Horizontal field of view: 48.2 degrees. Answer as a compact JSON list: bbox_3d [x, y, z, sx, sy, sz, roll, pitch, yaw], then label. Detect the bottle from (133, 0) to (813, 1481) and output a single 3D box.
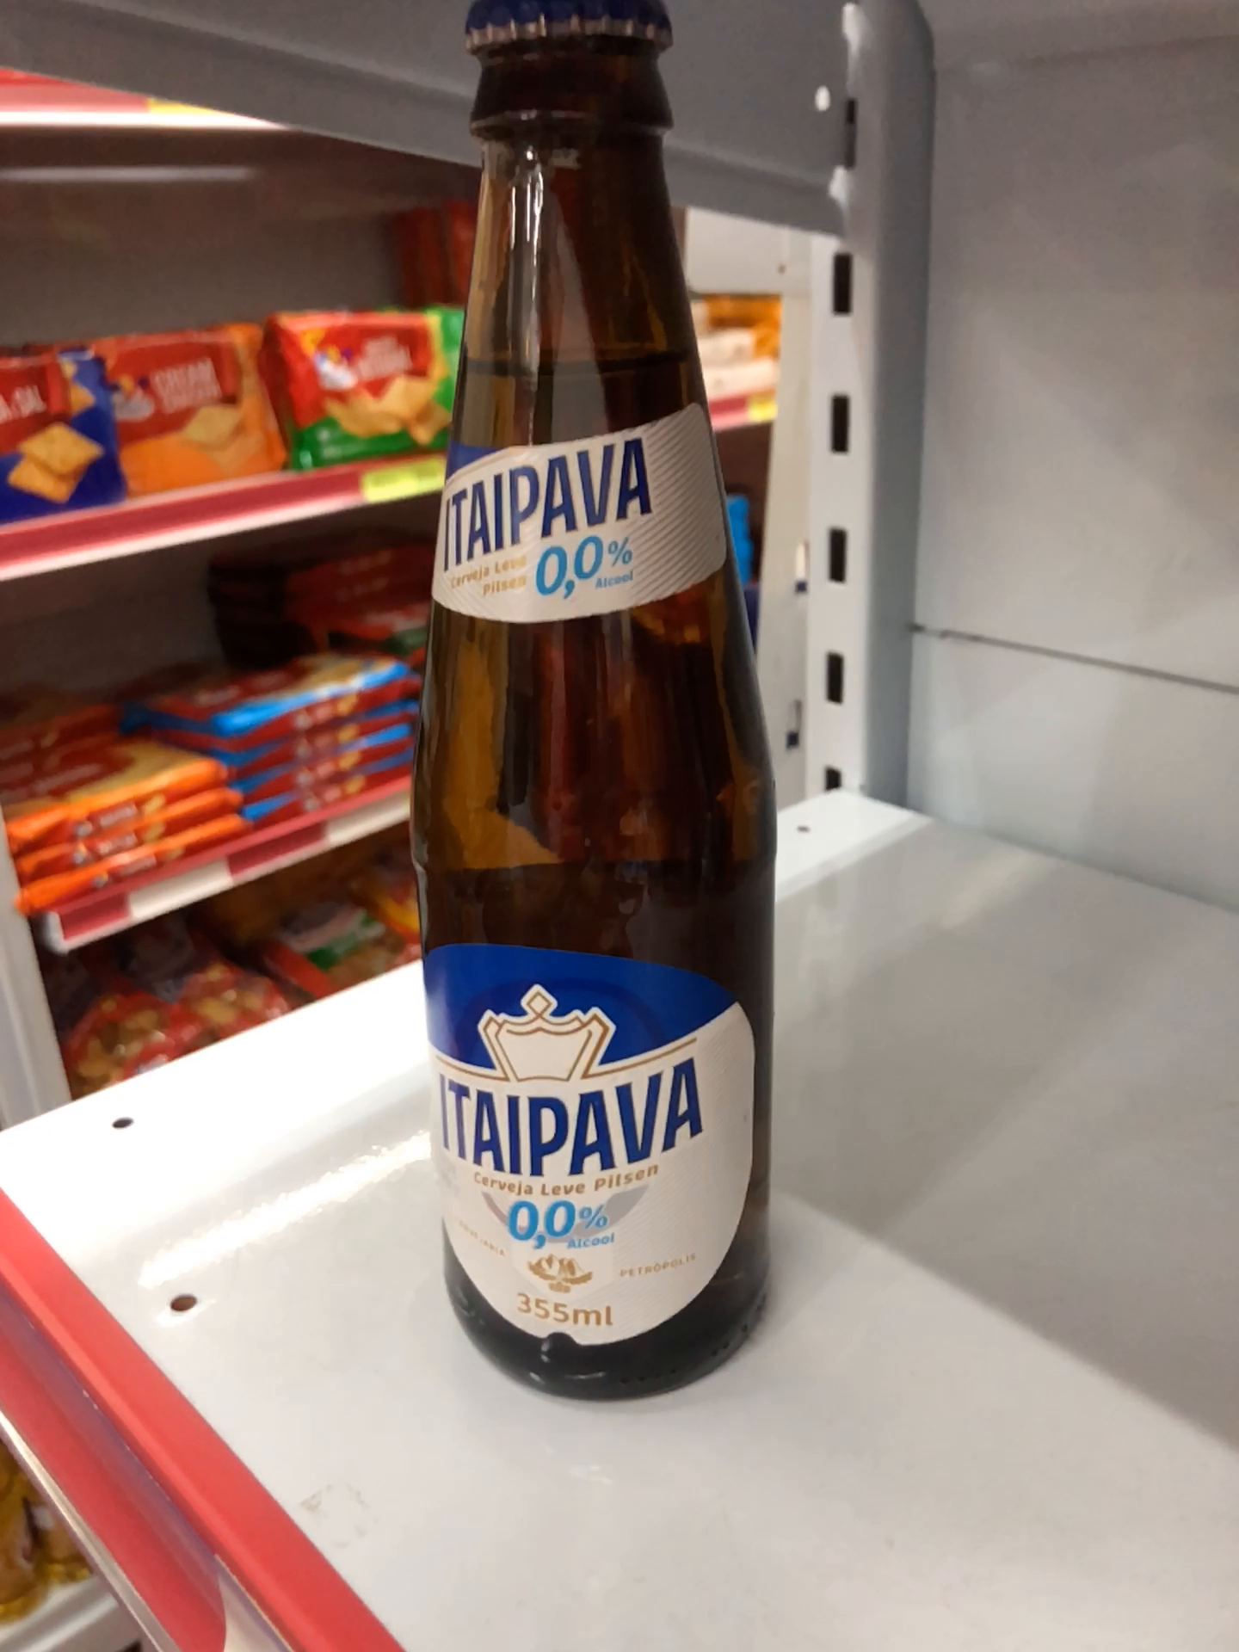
[{"bbox_3d":[-0.008,-0.013,0.202,0.060,0.209,0.060,-3,23,1],"label":"bottle"}]
